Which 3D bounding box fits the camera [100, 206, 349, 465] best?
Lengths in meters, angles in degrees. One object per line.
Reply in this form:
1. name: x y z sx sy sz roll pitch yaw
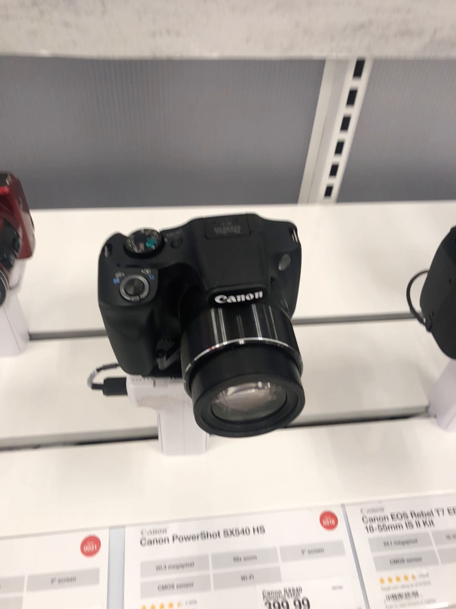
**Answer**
1. camera: -0.010 0.013 0.260 0.100 0.076 0.099 -5 49 -9
